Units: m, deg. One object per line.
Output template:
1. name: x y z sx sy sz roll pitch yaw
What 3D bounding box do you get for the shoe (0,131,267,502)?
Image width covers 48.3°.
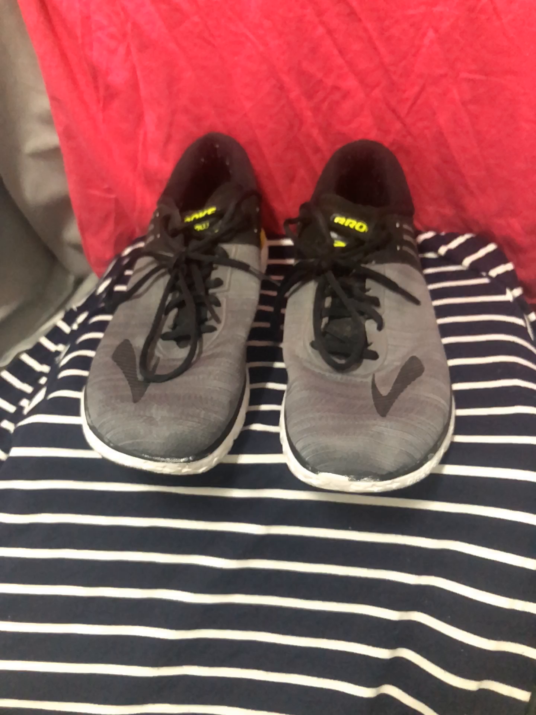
1. shoe: -0.061 -0.053 0.394 0.102 0.079 0.293 0 42 3

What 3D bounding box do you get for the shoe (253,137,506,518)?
1. shoe: 0.056 -0.045 0.379 0.104 0.079 0.283 1 42 4
